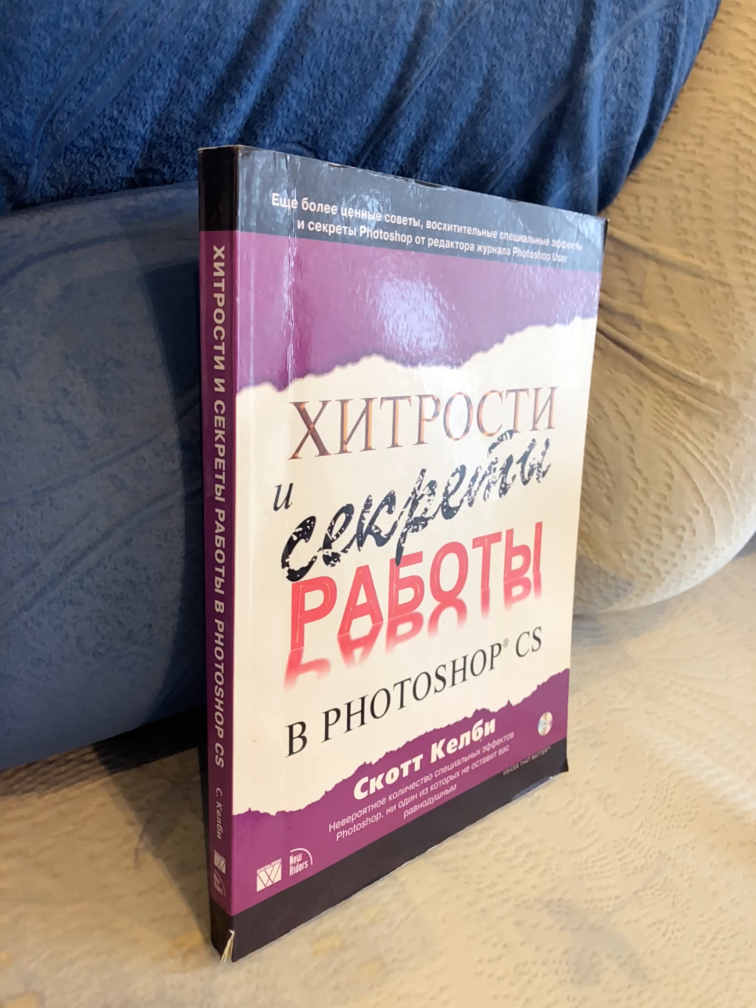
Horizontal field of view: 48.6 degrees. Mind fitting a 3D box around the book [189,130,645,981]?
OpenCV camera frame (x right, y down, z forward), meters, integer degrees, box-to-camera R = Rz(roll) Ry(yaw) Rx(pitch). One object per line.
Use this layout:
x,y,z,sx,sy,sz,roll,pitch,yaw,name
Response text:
0.025,0.014,0.337,0.210,0.271,0.030,-10,18,-43,book
